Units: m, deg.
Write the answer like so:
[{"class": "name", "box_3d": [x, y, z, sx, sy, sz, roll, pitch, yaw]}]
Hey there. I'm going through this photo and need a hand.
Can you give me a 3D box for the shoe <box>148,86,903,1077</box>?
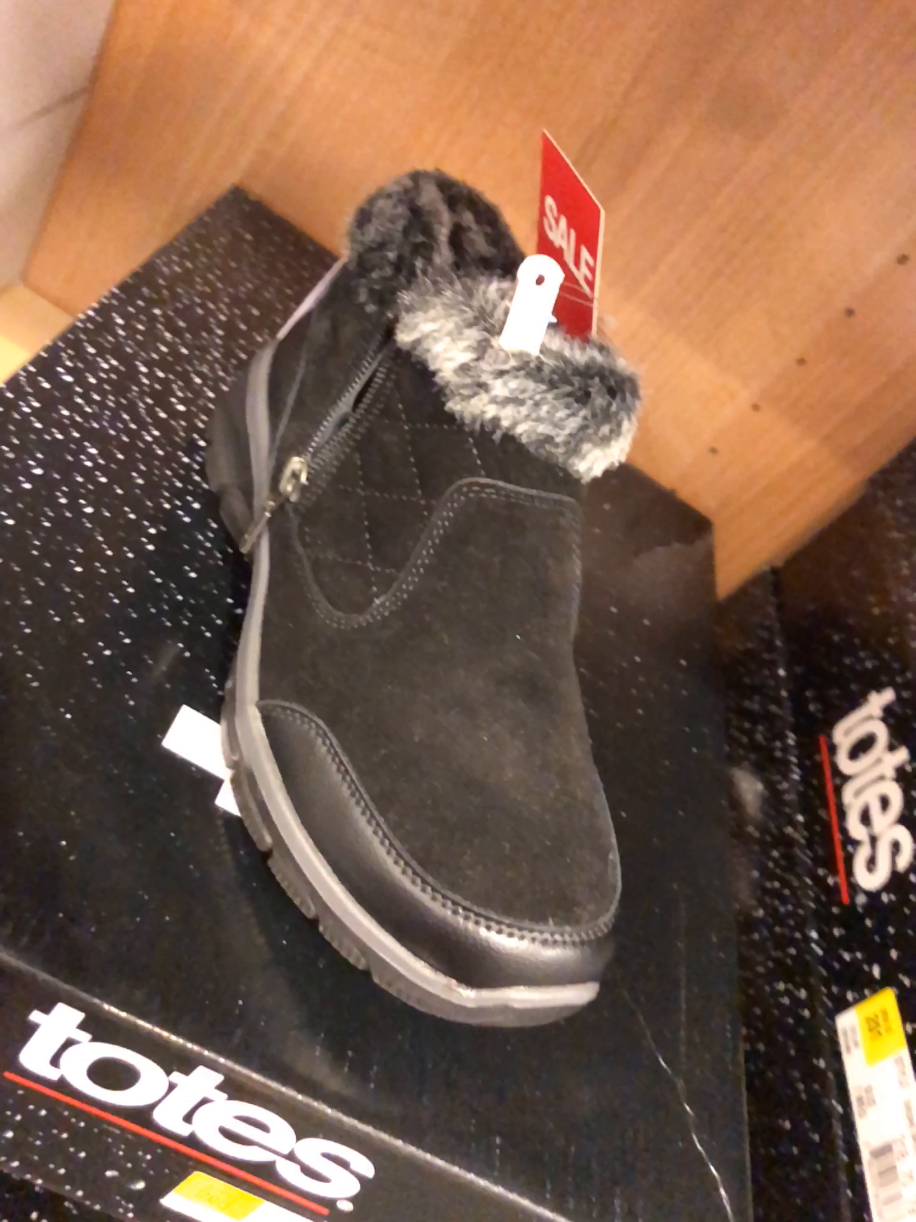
[{"class": "shoe", "box_3d": [-0.006, -0.018, 0.302, 0.105, 0.112, 0.249, 10, 47, -37]}]
